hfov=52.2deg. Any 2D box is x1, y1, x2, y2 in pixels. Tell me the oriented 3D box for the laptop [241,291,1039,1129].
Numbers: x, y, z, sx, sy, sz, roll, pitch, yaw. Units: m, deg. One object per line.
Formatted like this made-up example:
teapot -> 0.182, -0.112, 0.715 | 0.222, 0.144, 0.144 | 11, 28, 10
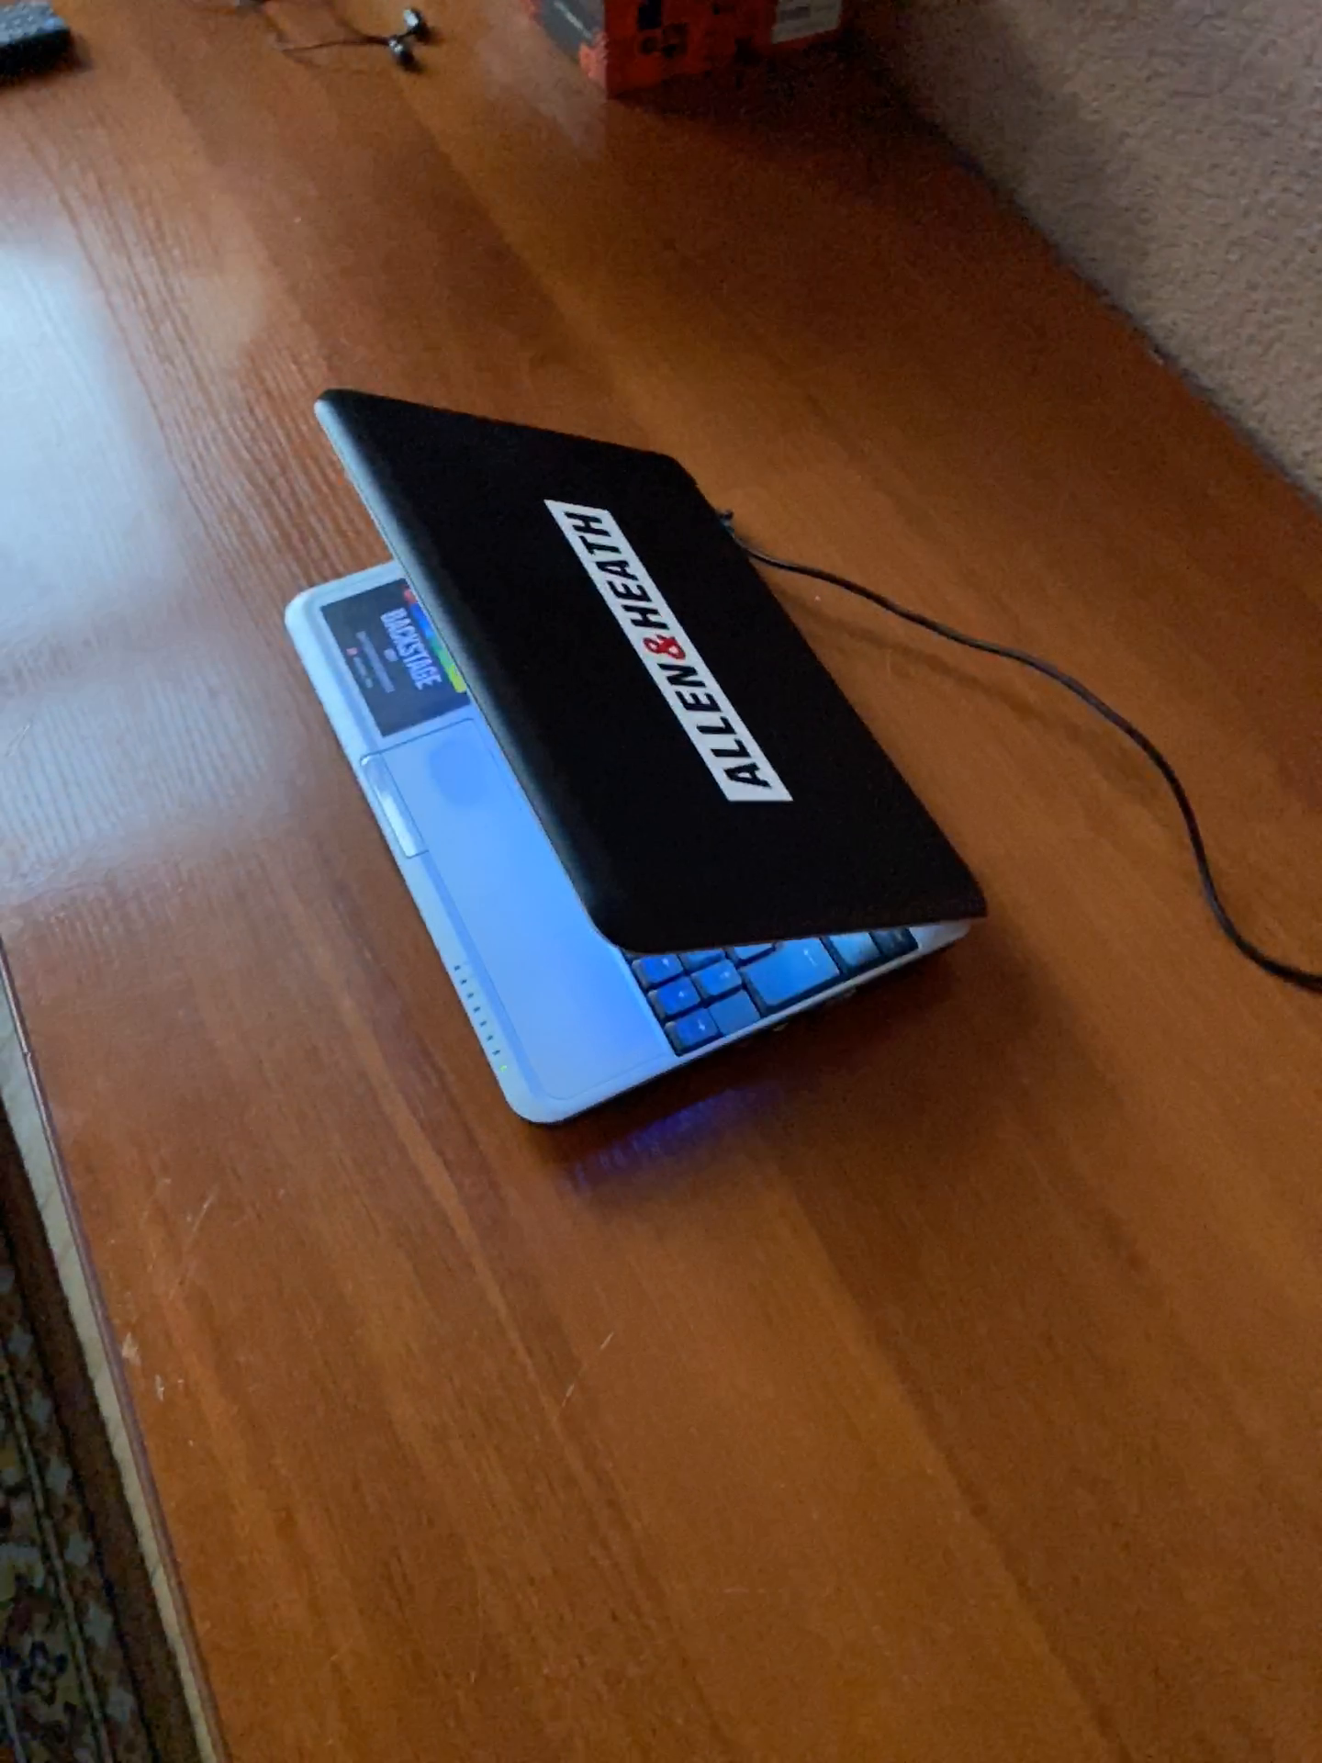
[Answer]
laptop -> -0.022, -0.076, 0.493 | 0.173, 0.088, 0.267 | -23, 61, -12
